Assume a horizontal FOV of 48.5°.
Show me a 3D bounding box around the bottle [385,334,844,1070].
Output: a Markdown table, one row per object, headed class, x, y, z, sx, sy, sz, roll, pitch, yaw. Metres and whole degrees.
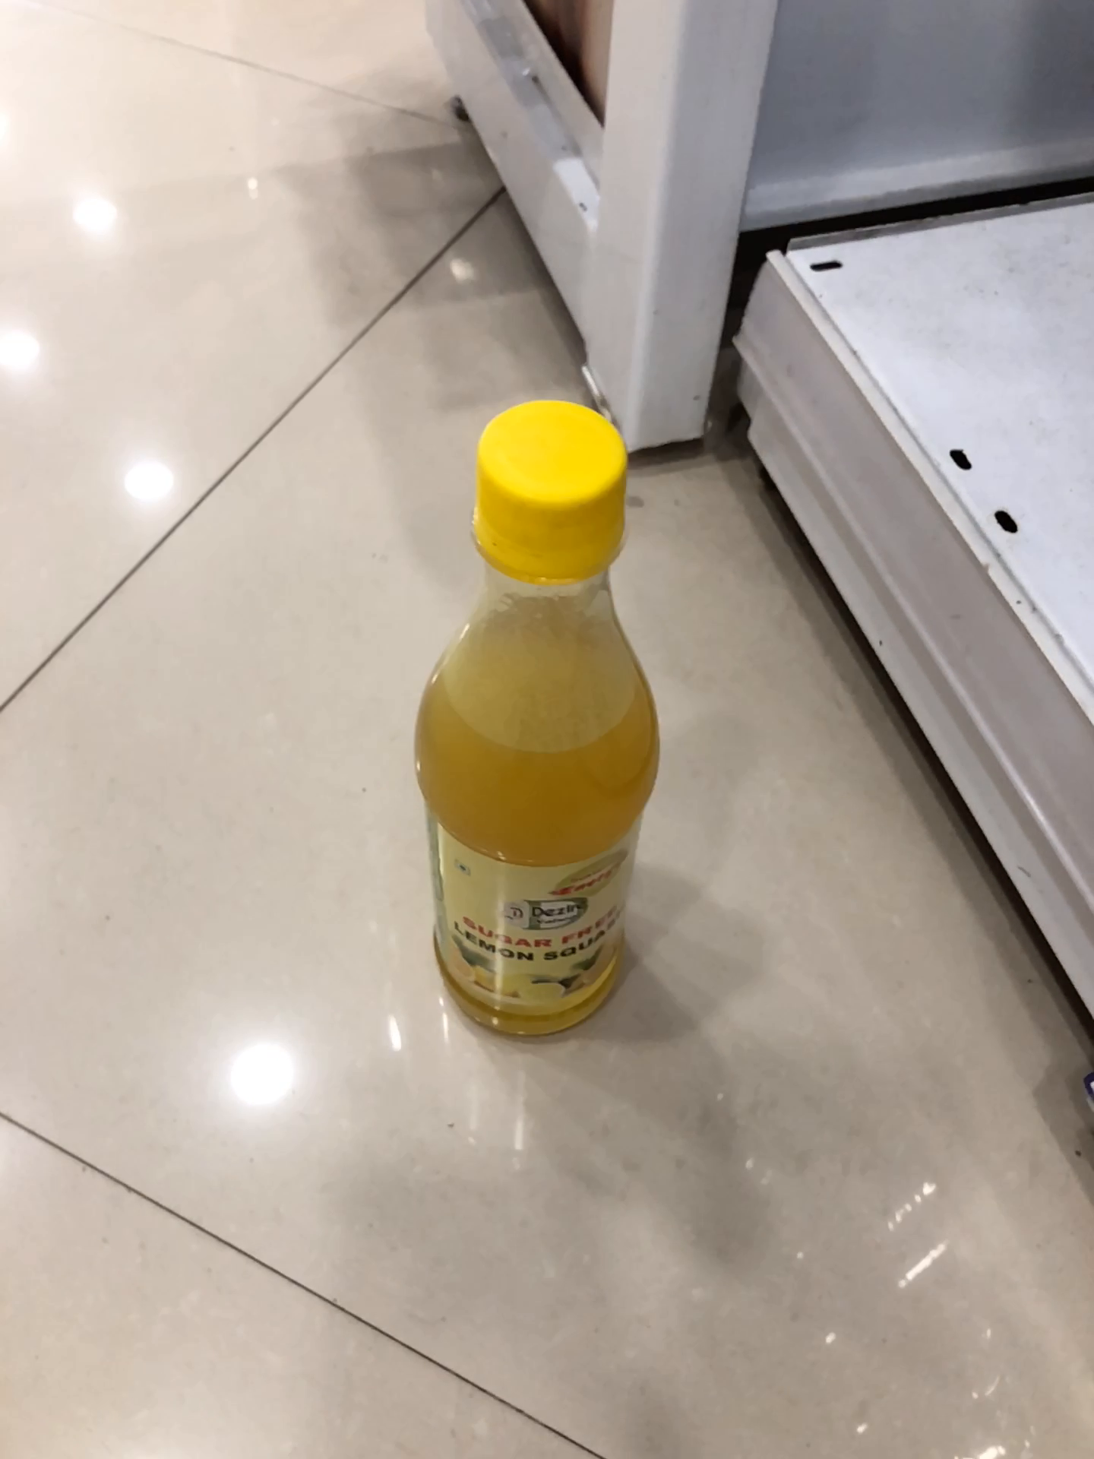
| class | x | y | z | sx | sy | sz | roll | pitch | yaw |
| --- | --- | --- | --- | --- | --- | --- | --- | --- | --- |
| bottle | 0.007 | 0.013 | 0.331 | 0.080 | 0.229 | 0.070 | -5 | 54 | -6 |
